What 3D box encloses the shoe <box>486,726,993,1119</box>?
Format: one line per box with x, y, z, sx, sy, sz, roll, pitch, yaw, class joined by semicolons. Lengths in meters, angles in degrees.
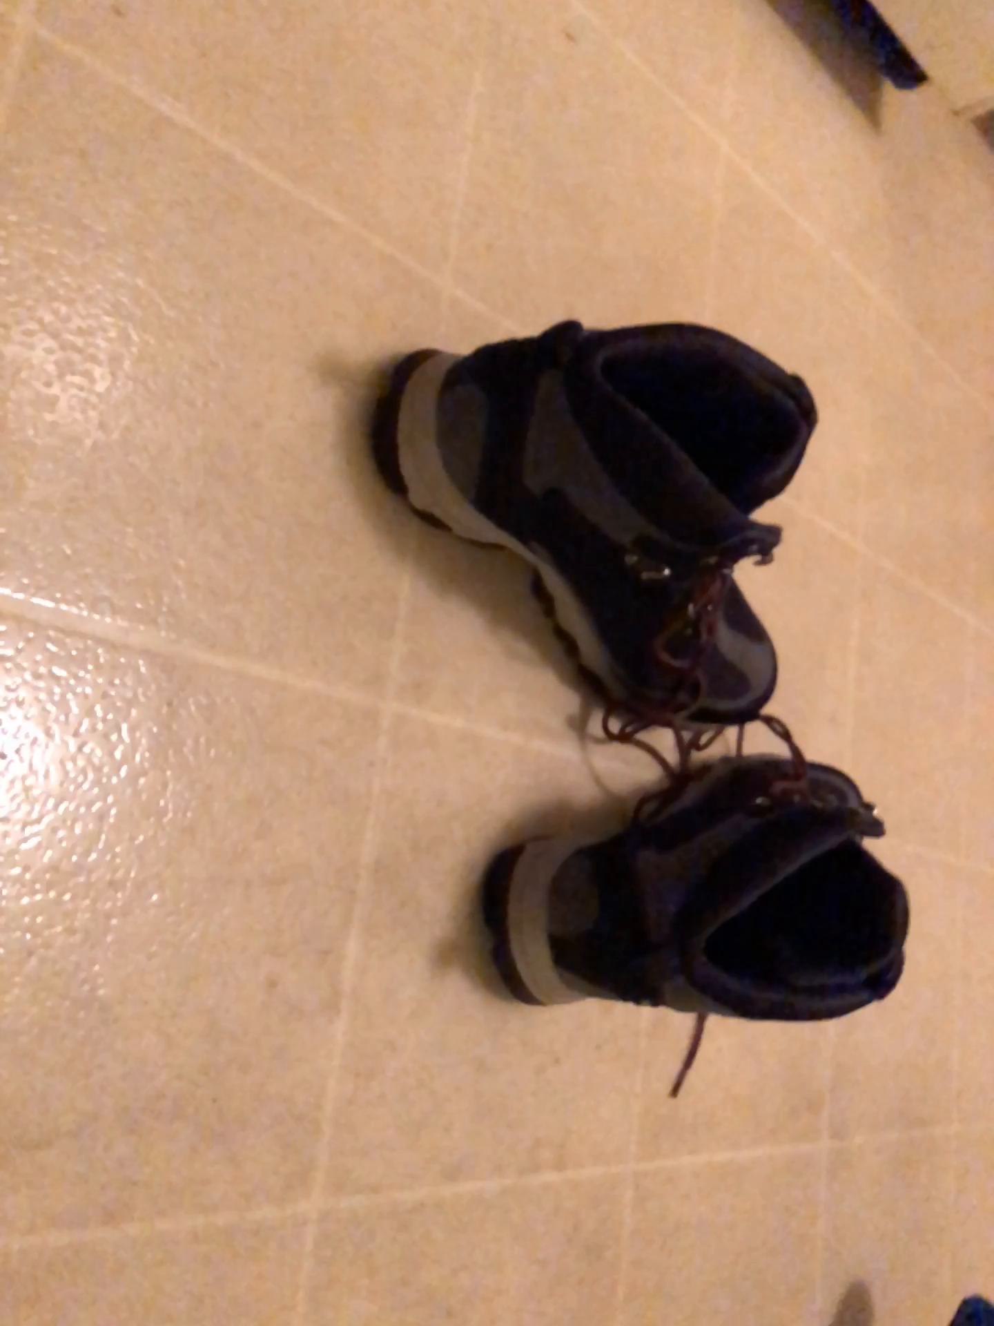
0.175;0.116;0.616;0.300;0.195;0.116;-8;92;-45;shoe

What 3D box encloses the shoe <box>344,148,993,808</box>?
0.113;-0.061;0.571;0.310;0.195;0.126;44;58;-33;shoe
